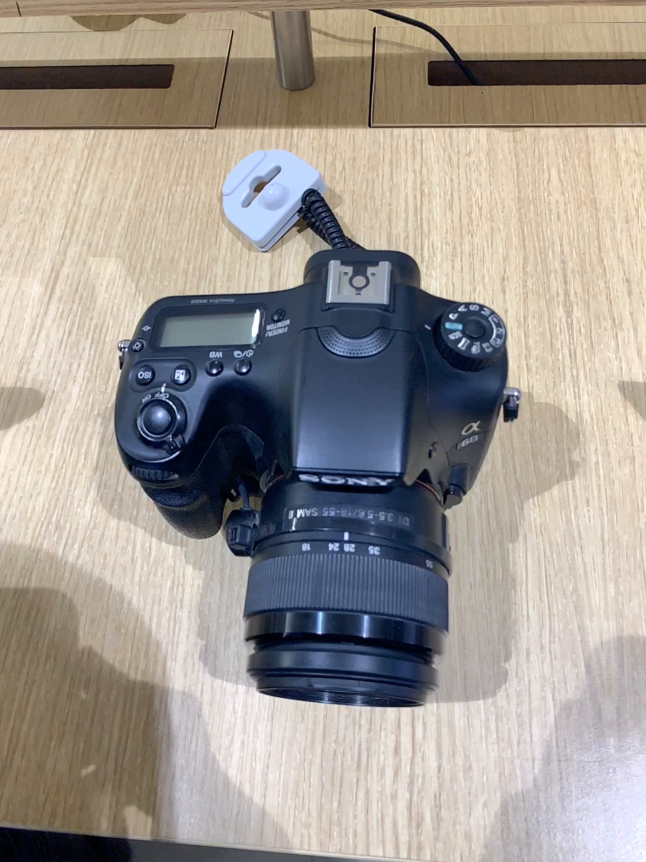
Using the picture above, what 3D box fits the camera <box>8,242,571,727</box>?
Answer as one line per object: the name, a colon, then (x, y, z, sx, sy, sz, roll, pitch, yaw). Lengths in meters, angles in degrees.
camera: (-0.004, 0.024, 0.226, 0.130, 0.100, 0.134, 0, 65, 4)
